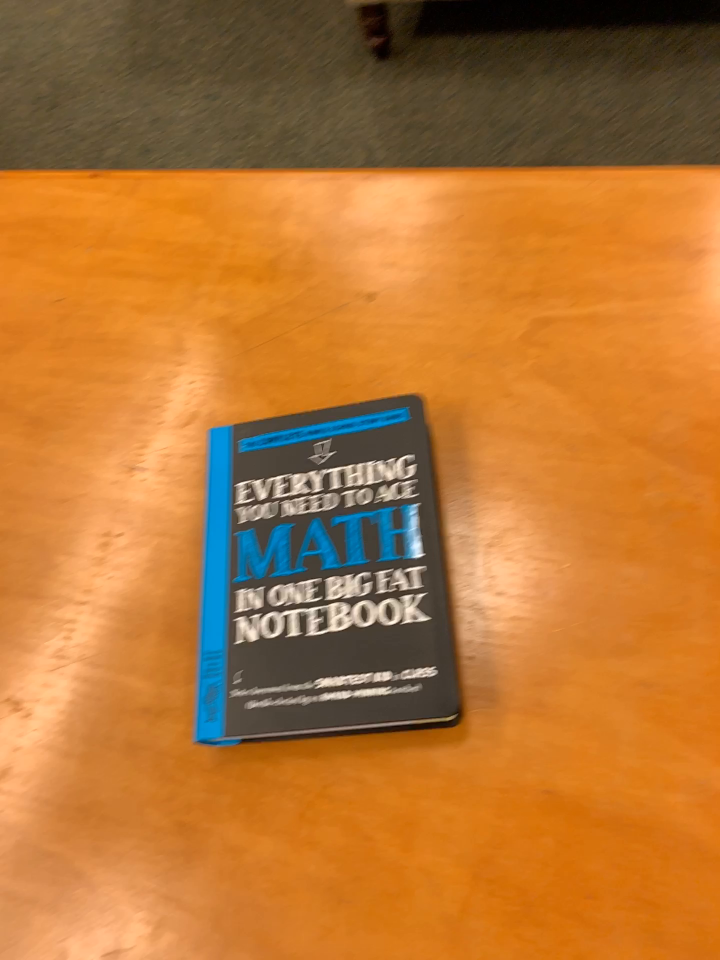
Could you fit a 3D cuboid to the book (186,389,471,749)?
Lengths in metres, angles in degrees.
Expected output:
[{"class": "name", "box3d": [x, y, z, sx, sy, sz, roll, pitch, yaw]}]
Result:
[{"class": "book", "box3d": [-0.023, 0.054, 0.473, 0.160, 0.040, 0.210, -8, 63, 10]}]
